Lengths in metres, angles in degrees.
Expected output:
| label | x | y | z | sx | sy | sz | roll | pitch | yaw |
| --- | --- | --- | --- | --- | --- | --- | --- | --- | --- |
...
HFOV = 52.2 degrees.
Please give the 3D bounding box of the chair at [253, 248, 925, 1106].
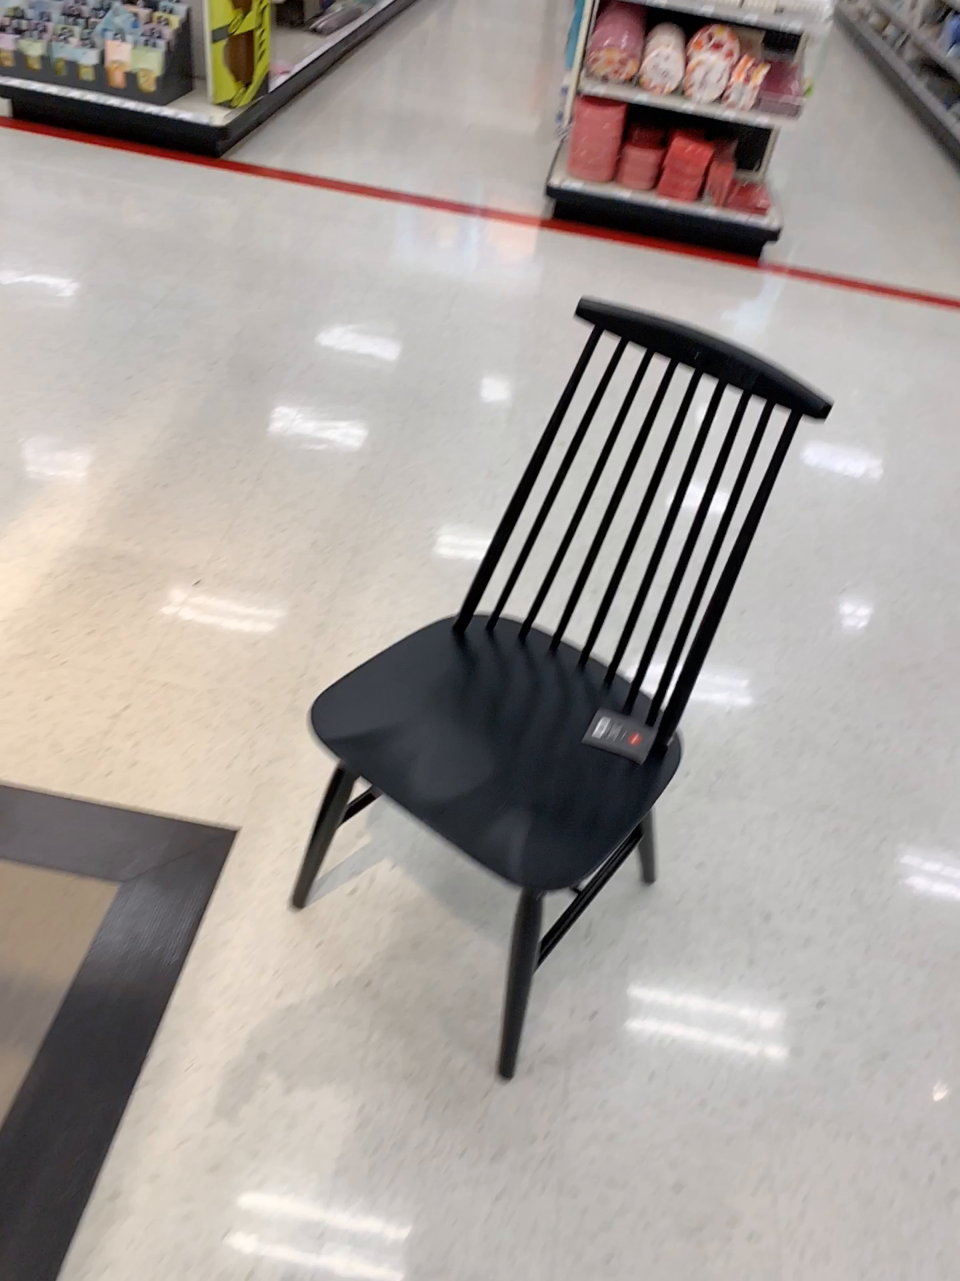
| label | x | y | z | sx | sy | sz | roll | pitch | yaw |
| --- | --- | --- | --- | --- | --- | --- | --- | --- | --- |
| chair | 0.077 | 0.062 | 1.384 | 0.531 | 0.946 | 0.552 | 33 | 46 | 24 |
